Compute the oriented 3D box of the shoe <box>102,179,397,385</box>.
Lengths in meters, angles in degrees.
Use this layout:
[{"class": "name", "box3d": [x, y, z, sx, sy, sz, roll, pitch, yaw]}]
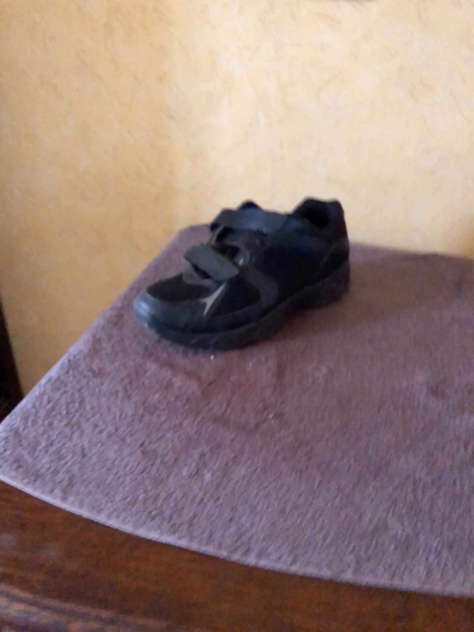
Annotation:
[{"class": "shoe", "box3d": [0.021, -0.050, 0.530, 0.271, 0.109, 0.110, -20, 35, -31]}]
